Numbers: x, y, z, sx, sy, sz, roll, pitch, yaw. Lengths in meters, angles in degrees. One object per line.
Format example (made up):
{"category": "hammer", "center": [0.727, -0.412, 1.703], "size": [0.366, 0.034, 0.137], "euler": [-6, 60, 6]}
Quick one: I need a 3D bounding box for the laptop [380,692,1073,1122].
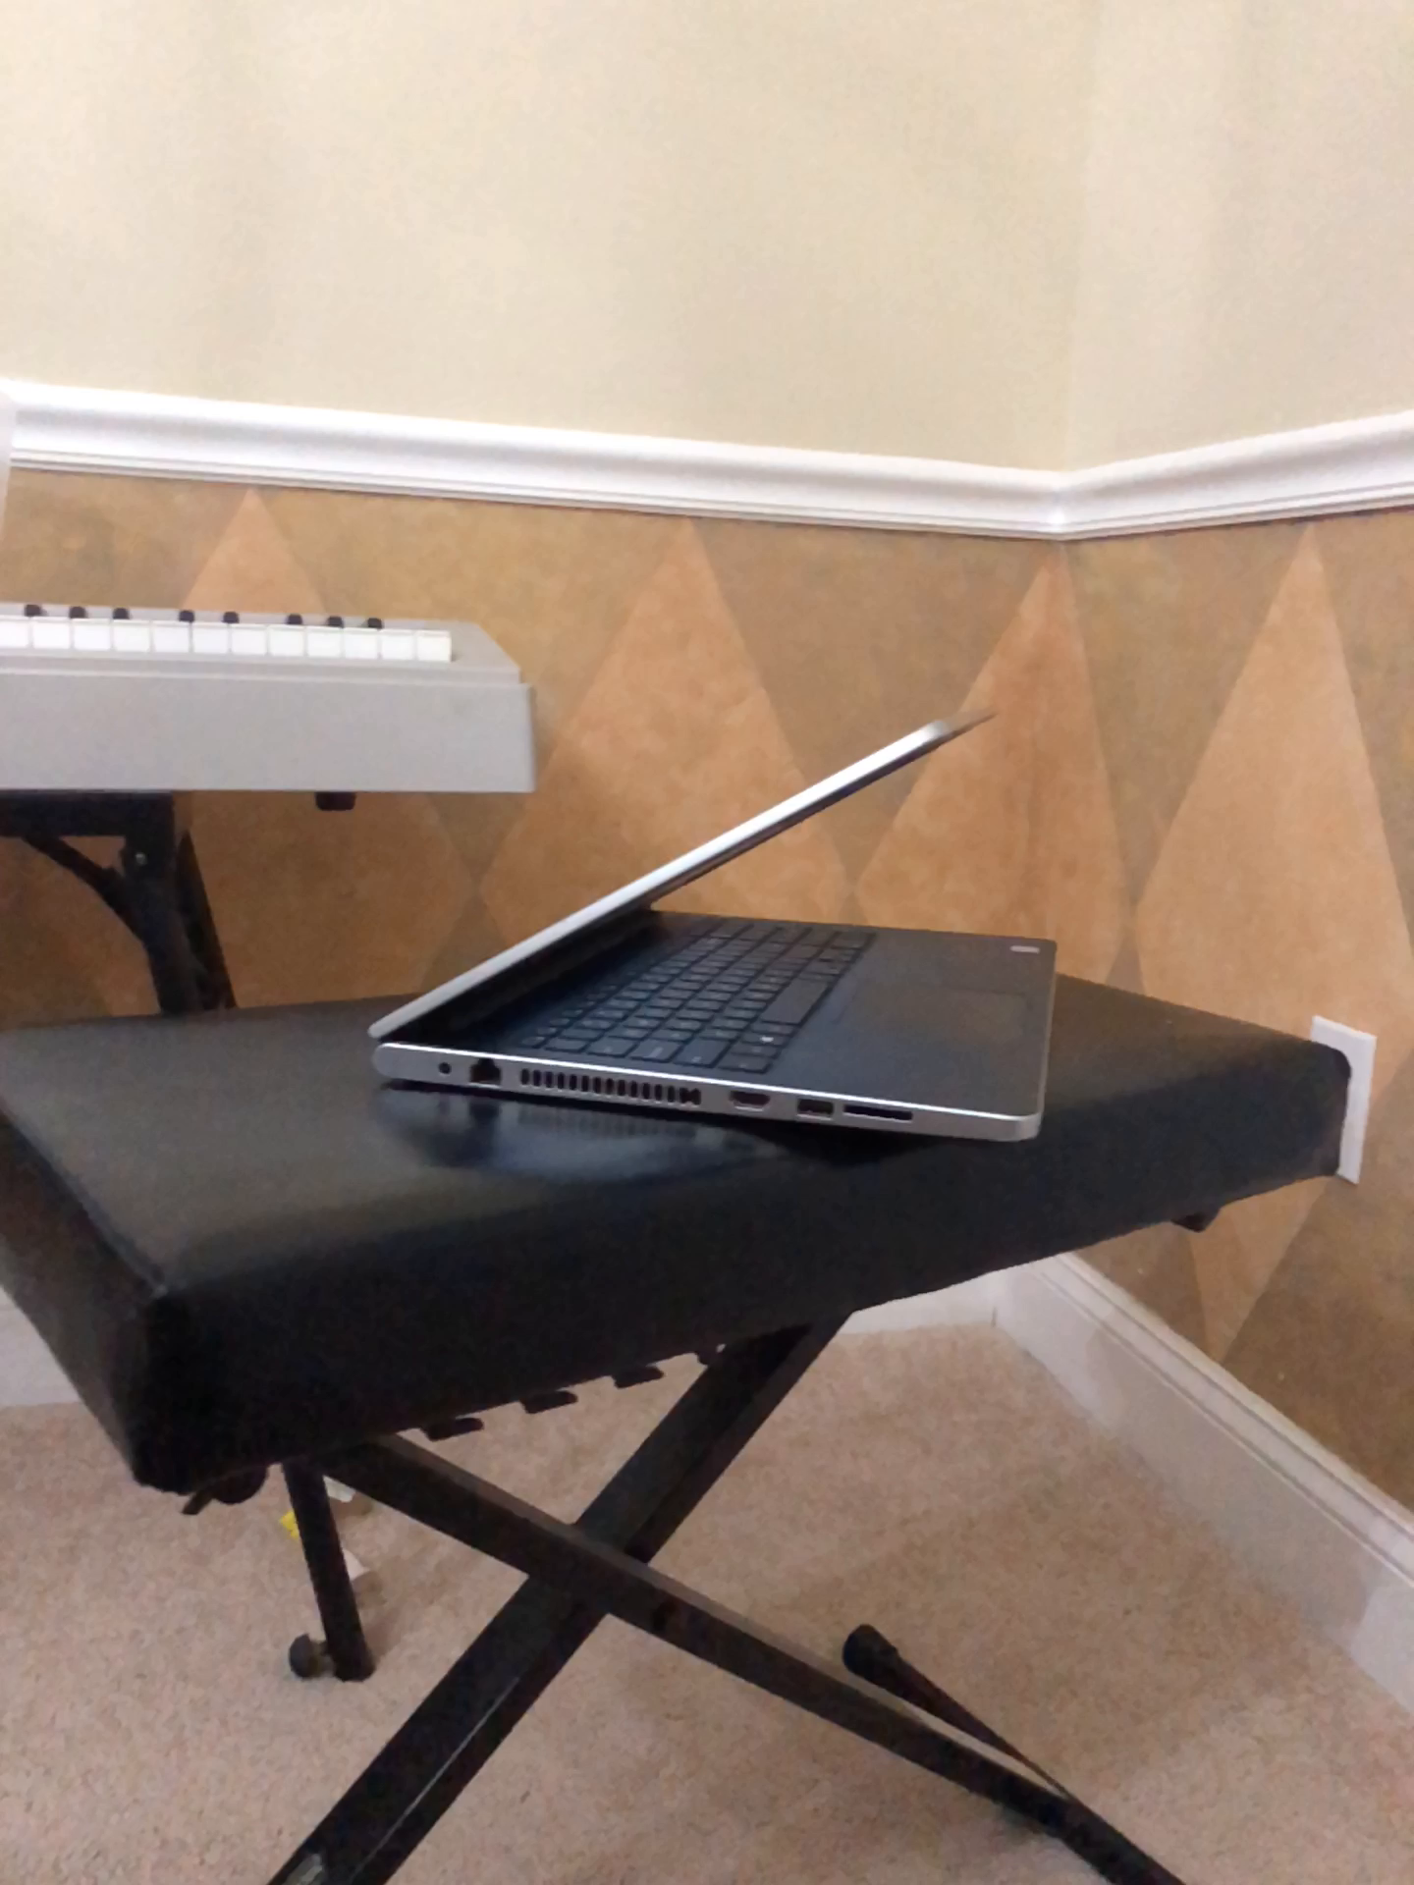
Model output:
{"category": "laptop", "center": [0.042, -0.044, 0.763], "size": [0.255, 0.132, 0.377], "euler": [6, 11, 12]}
